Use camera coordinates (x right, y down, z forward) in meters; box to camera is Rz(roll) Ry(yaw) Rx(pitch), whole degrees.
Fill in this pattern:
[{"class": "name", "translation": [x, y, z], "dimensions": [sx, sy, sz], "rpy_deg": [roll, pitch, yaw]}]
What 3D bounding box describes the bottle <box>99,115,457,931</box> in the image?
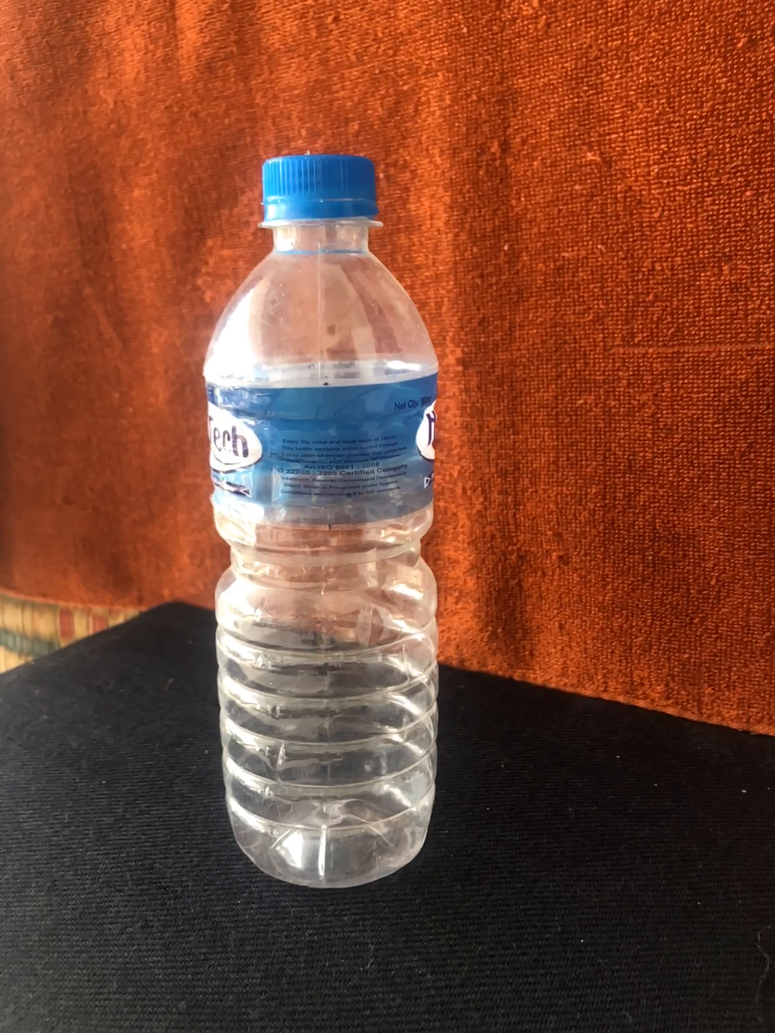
[{"class": "bottle", "translation": [-0.029, 0.000, 0.236], "dimensions": [0.070, 0.189, 0.070], "rpy_deg": [-2, 15, 1]}]
